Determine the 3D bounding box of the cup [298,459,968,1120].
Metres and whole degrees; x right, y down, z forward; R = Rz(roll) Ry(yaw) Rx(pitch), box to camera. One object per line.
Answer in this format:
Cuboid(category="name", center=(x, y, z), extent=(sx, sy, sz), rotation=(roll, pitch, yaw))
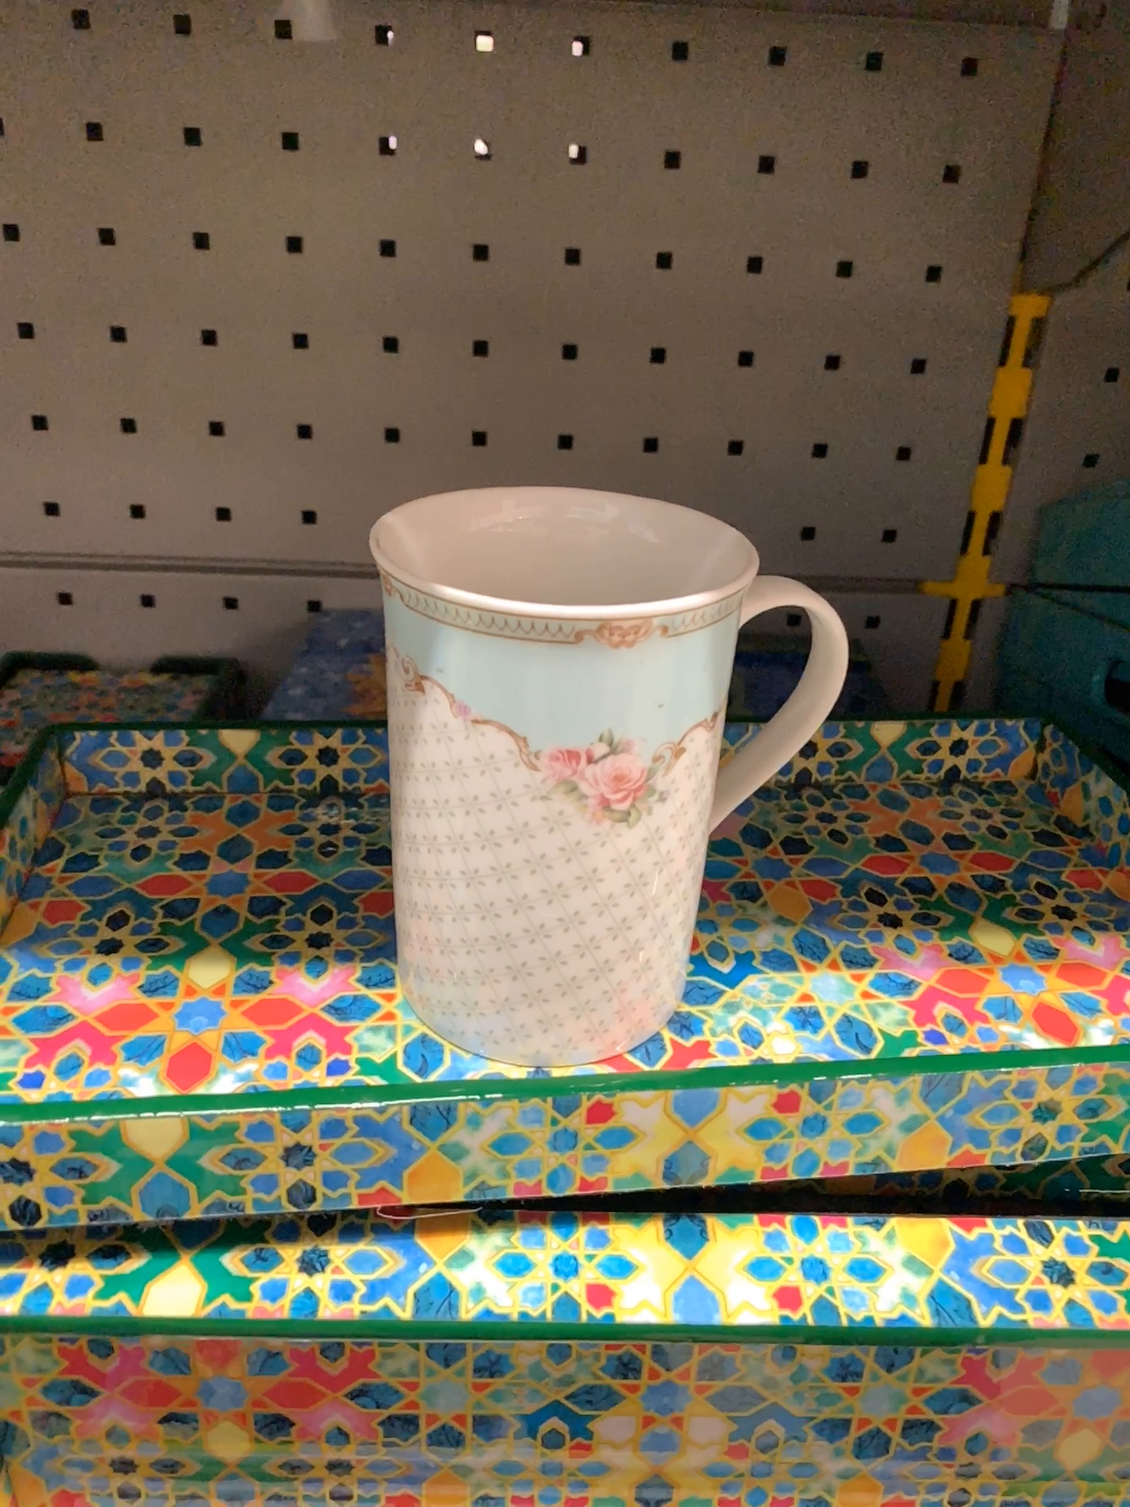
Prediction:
Cuboid(category="cup", center=(0.010, -0.002, 0.260), extent=(0.110, 0.100, 0.080), rotation=(-13, 31, -29))
